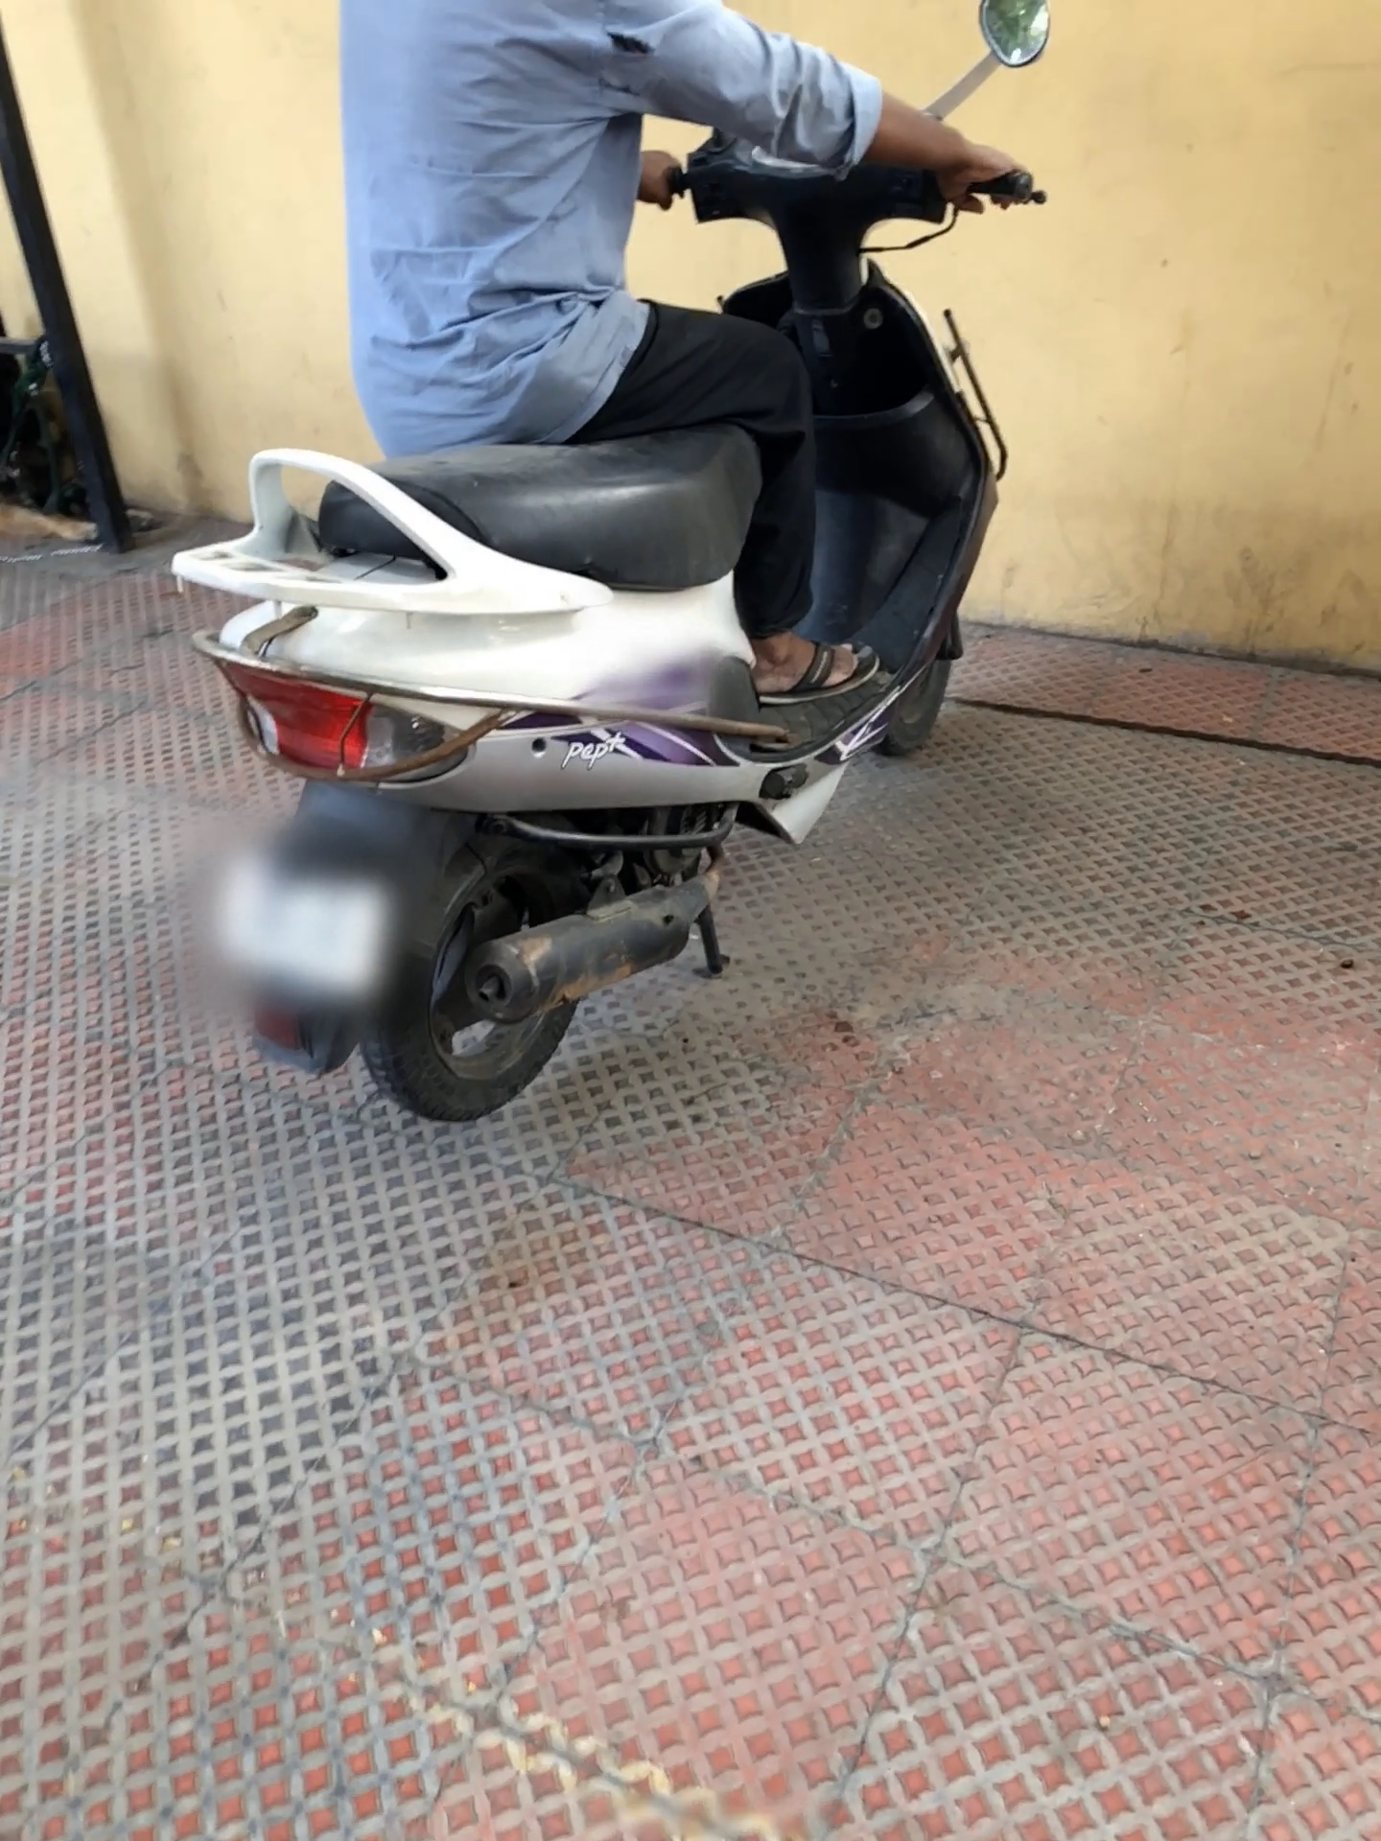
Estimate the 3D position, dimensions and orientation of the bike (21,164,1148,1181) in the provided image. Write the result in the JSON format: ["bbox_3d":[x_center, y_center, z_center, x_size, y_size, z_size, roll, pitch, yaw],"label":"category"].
[{"bbox_3d":[0.054,-0.514,2.116,0.598,0.816,1.619,16,36,27],"label":"bike"}]
